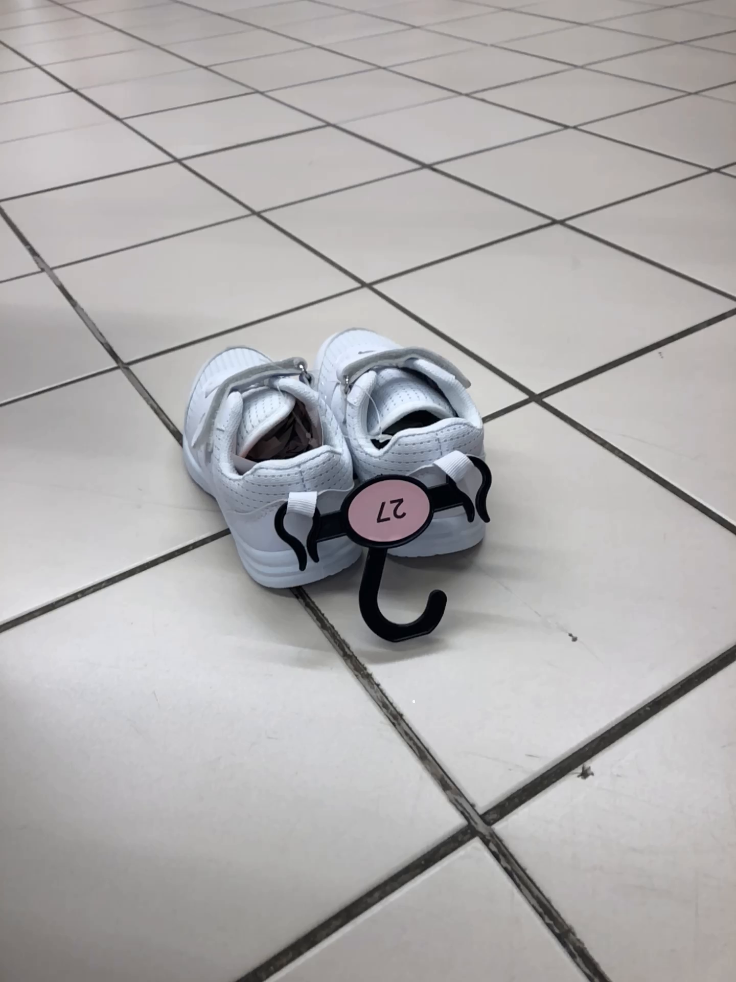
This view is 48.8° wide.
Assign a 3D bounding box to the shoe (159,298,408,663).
[{"bbox_3d":[-0.052,-0.019,0.437,0.080,0.080,0.201,-14,40,-12],"label":"shoe"}]

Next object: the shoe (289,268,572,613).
[{"bbox_3d":[0.024,-0.041,0.451,0.080,0.080,0.201,-14,40,-12],"label":"shoe"}]
